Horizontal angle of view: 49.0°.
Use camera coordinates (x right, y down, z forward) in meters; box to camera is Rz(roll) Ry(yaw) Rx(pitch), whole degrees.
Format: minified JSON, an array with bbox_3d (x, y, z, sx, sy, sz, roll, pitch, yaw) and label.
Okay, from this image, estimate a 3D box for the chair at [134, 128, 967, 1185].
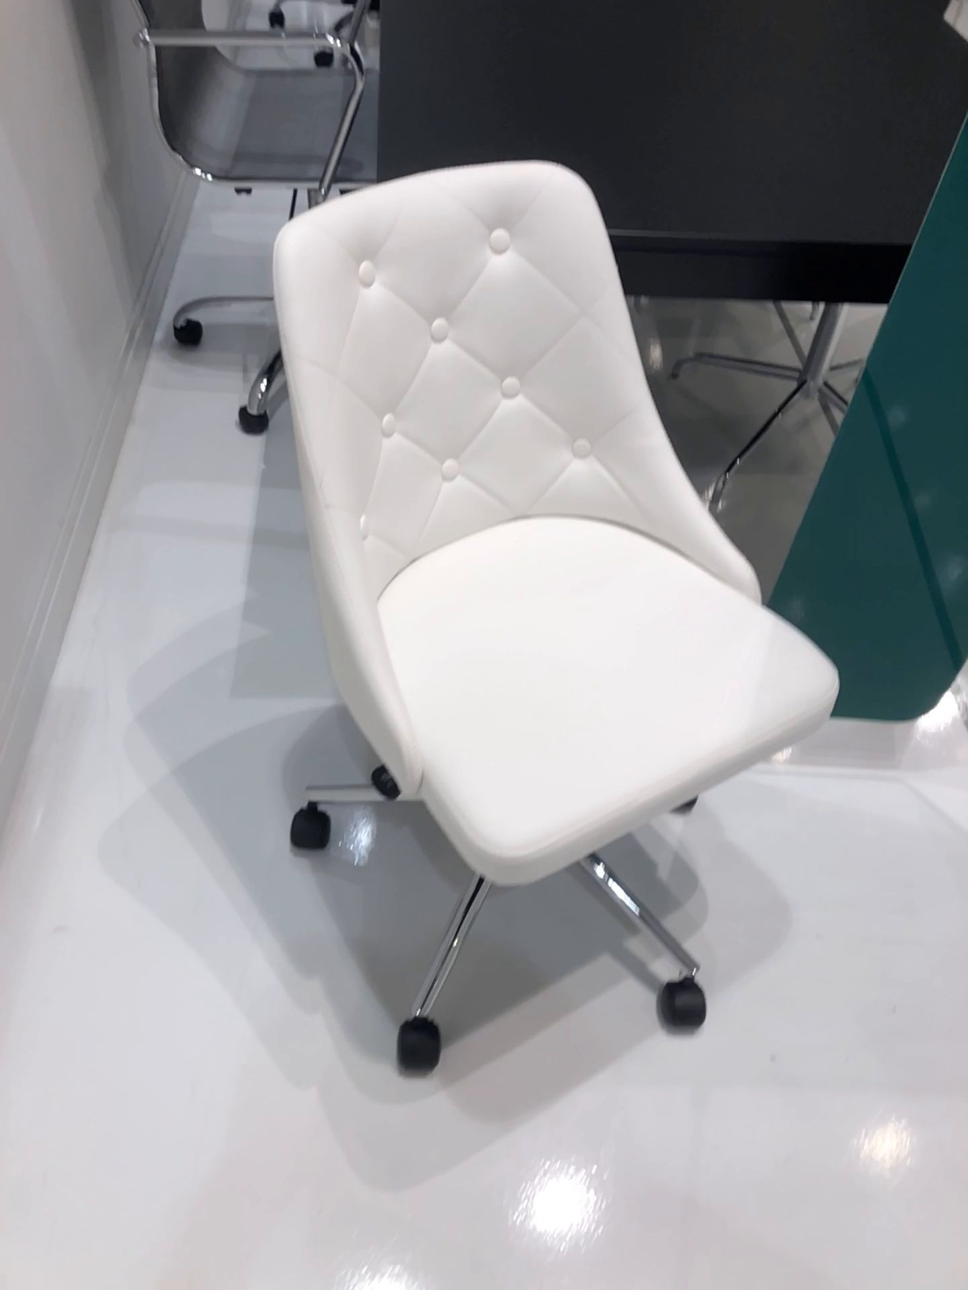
[{"bbox_3d":[0.073,0.016,1.208,0.602,0.854,0.643,-21,52,-24],"label":"chair"}]
